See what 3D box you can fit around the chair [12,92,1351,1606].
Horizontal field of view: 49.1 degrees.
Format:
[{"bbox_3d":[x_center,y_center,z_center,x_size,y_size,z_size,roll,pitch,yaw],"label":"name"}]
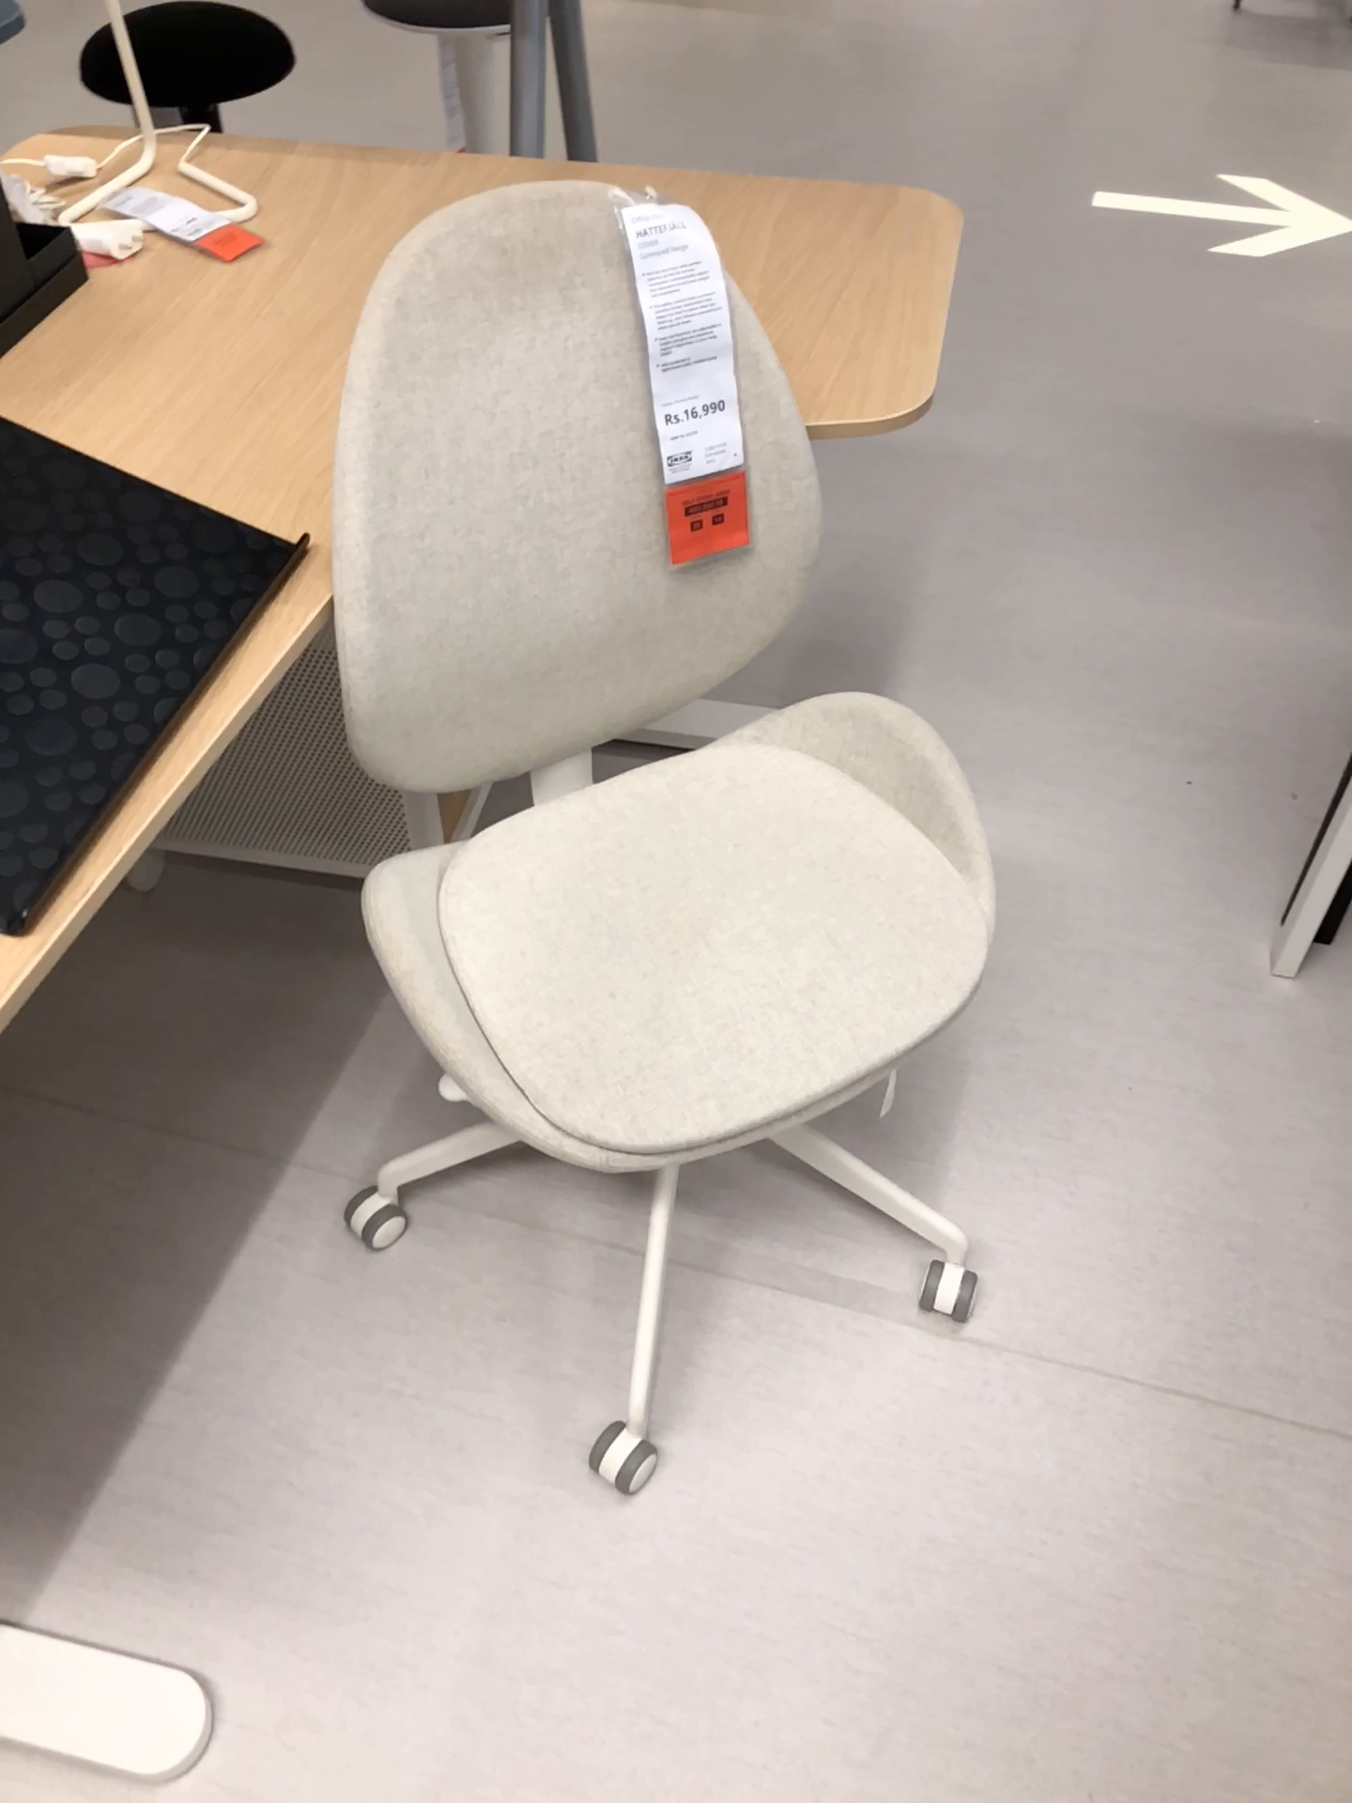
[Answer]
[{"bbox_3d":[-0.004,-0.015,1.296,0.661,0.994,0.623,-24,51,-21],"label":"chair"}]
